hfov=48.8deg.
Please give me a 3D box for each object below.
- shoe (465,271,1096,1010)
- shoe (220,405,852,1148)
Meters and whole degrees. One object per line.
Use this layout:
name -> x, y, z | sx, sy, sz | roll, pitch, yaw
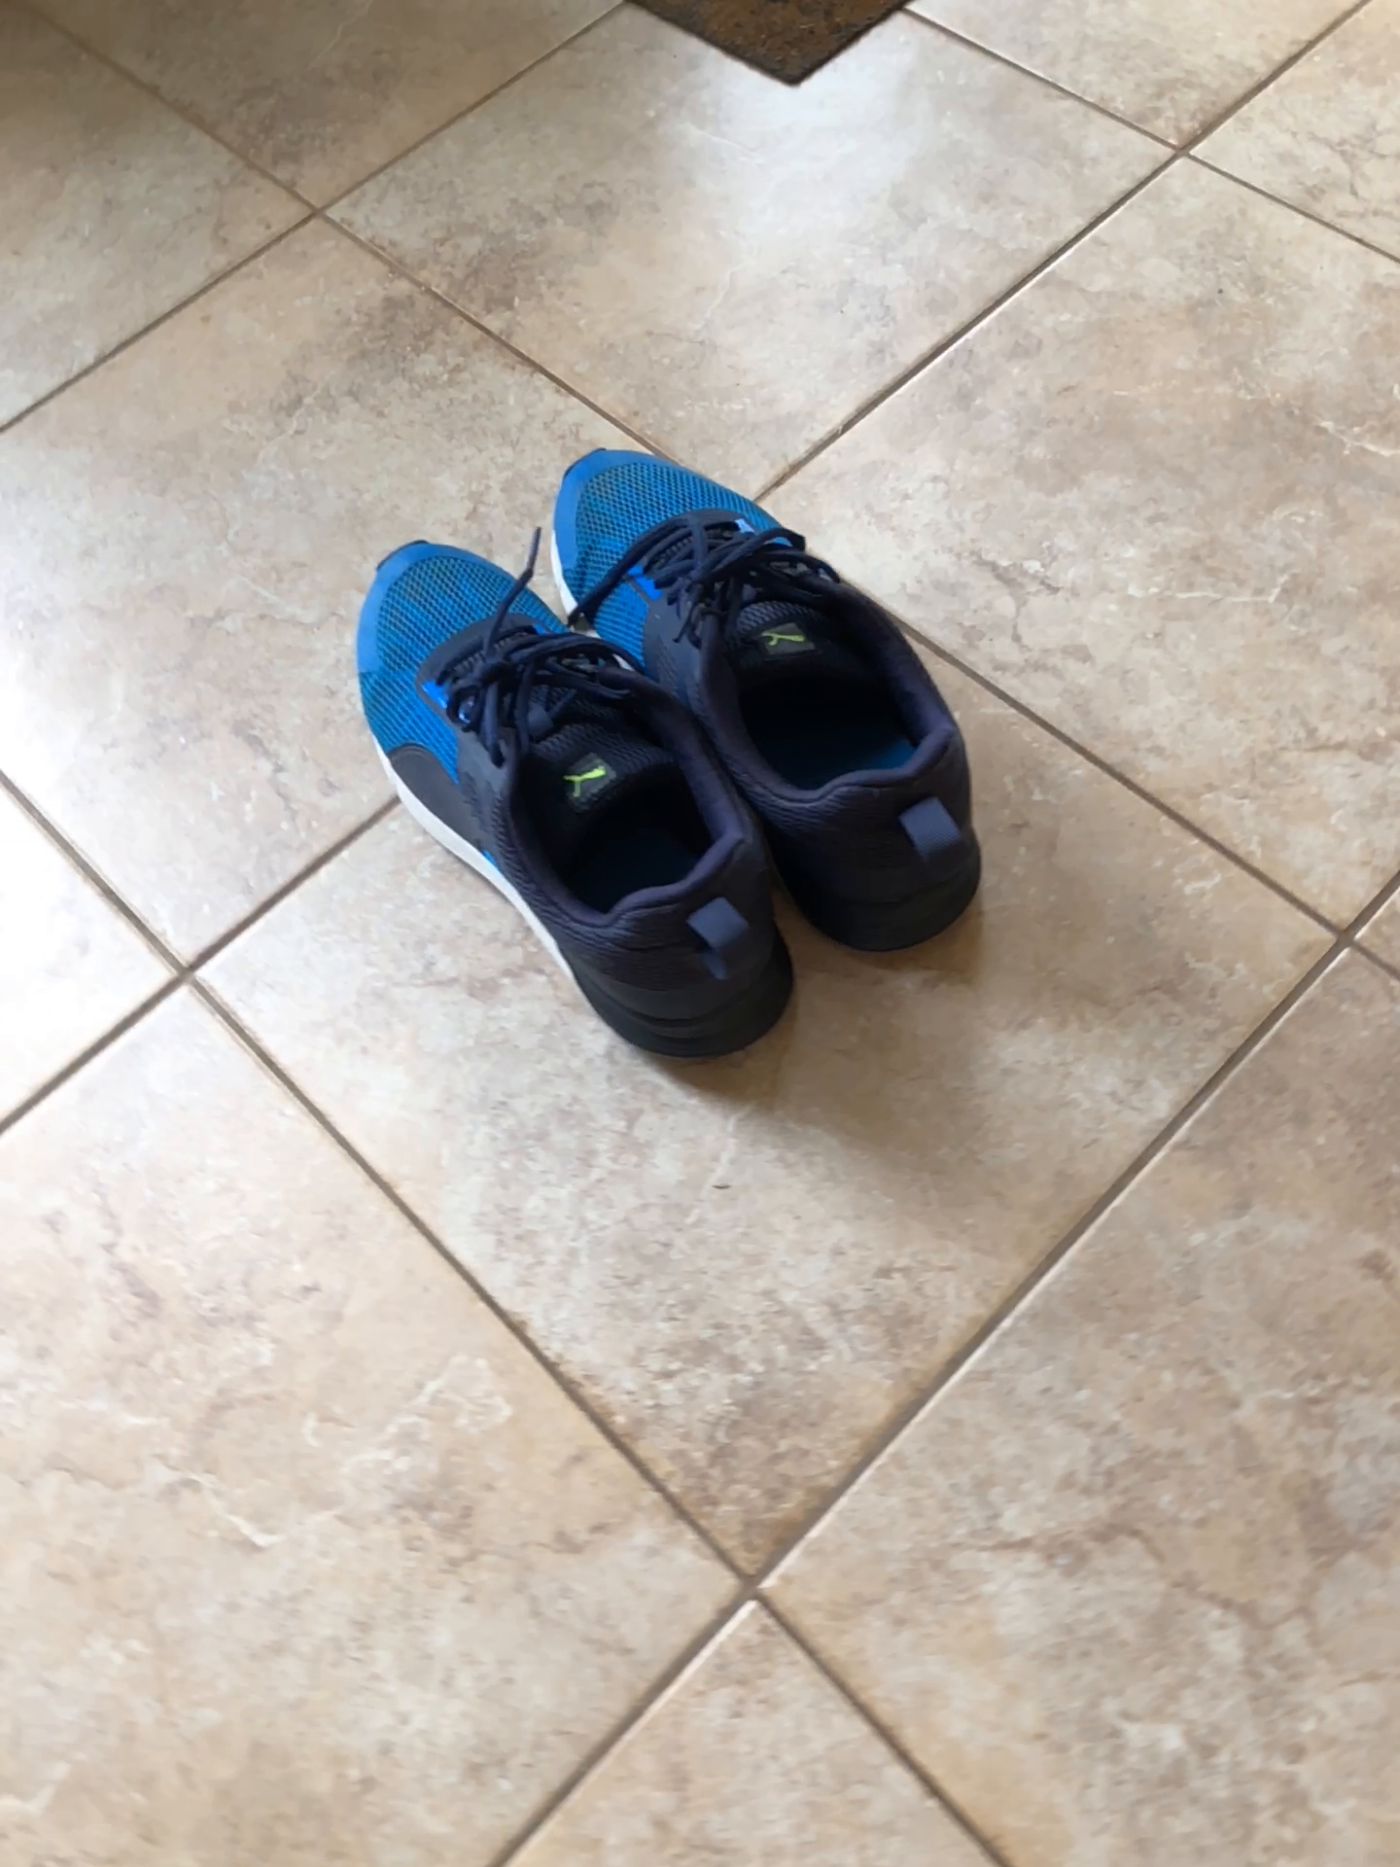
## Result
shoe -> 0.024, -0.128, 0.638 | 0.110, 0.100, 0.291 | -28, 63, -9
shoe -> -0.067, -0.070, 0.621 | 0.110, 0.100, 0.280 | -33, 64, -11
